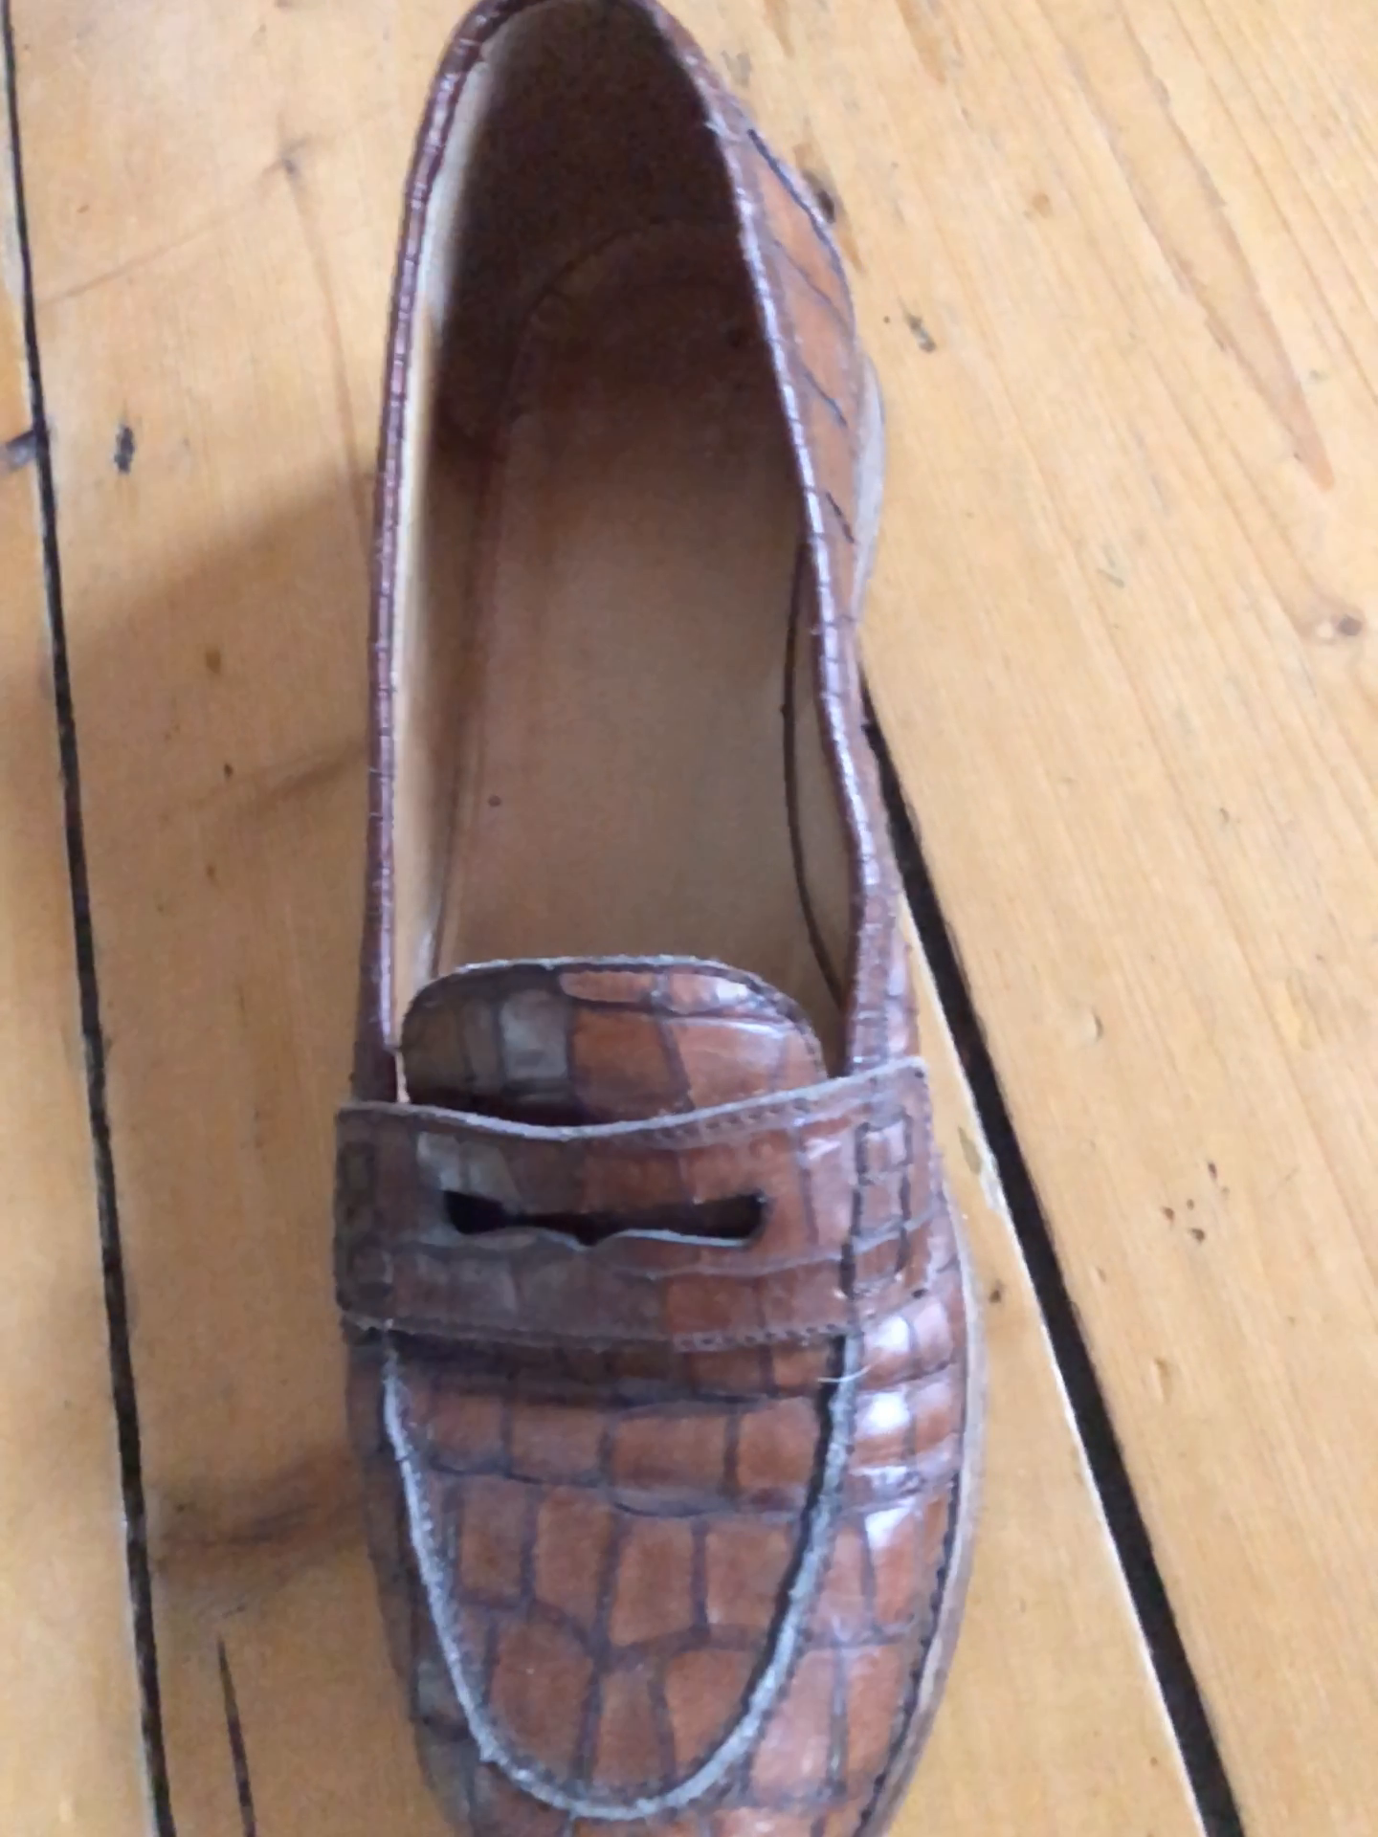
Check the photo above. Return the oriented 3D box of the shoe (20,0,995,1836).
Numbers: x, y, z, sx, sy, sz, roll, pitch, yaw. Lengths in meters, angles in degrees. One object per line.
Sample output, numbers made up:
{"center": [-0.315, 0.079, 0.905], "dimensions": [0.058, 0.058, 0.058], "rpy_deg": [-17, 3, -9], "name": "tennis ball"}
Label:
{"center": [-0.010, -0.029, 0.232], "dimensions": [0.080, 0.100, 0.321], "rpy_deg": [-6, 70, 17], "name": "shoe"}
